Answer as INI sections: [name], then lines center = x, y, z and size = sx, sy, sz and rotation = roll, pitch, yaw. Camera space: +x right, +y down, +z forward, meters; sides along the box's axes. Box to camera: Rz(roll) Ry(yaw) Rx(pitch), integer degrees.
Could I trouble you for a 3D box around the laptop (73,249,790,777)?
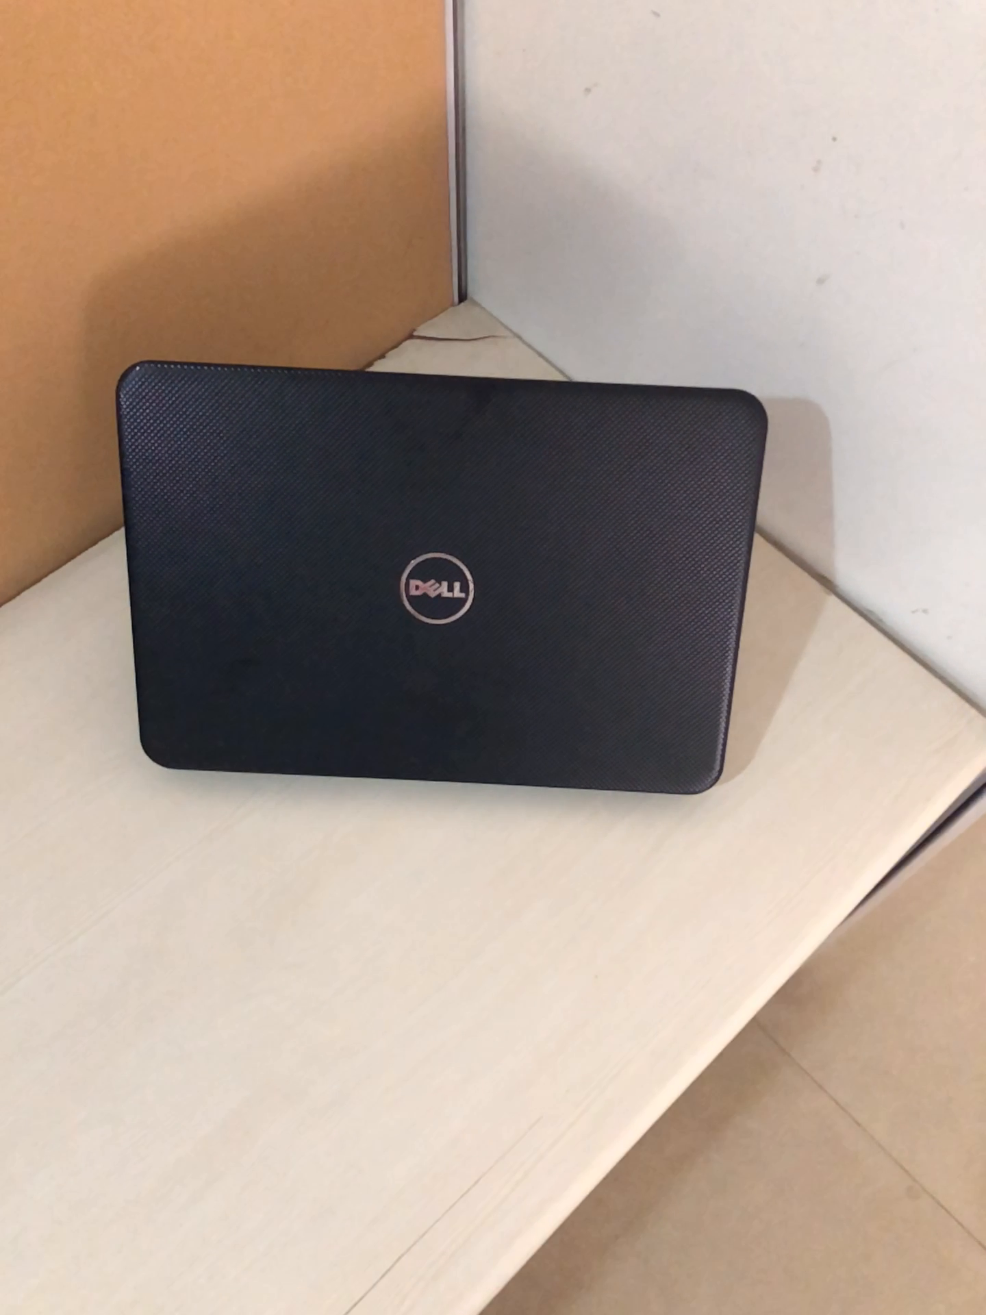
[laptop]
center = -0.025, -0.086, 0.676
size = 0.351, 0.179, 0.255
rotation = 3, 59, -2
